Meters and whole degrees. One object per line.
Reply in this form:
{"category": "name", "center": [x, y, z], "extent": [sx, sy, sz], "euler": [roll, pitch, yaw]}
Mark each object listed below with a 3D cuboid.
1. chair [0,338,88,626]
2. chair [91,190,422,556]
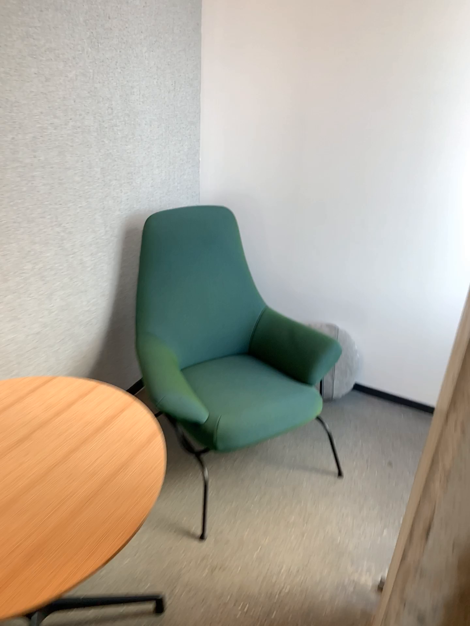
{"category": "chair", "center": [-0.881, 0.784, 0.712], "extent": [0.852, 1.033, 0.834], "euler": [18, 31, 26]}
{"category": "chair", "center": [-0.011, 0.114, 2.001], "extent": [0.821, 0.954, 1.005], "euler": [-12, 31, -27]}
